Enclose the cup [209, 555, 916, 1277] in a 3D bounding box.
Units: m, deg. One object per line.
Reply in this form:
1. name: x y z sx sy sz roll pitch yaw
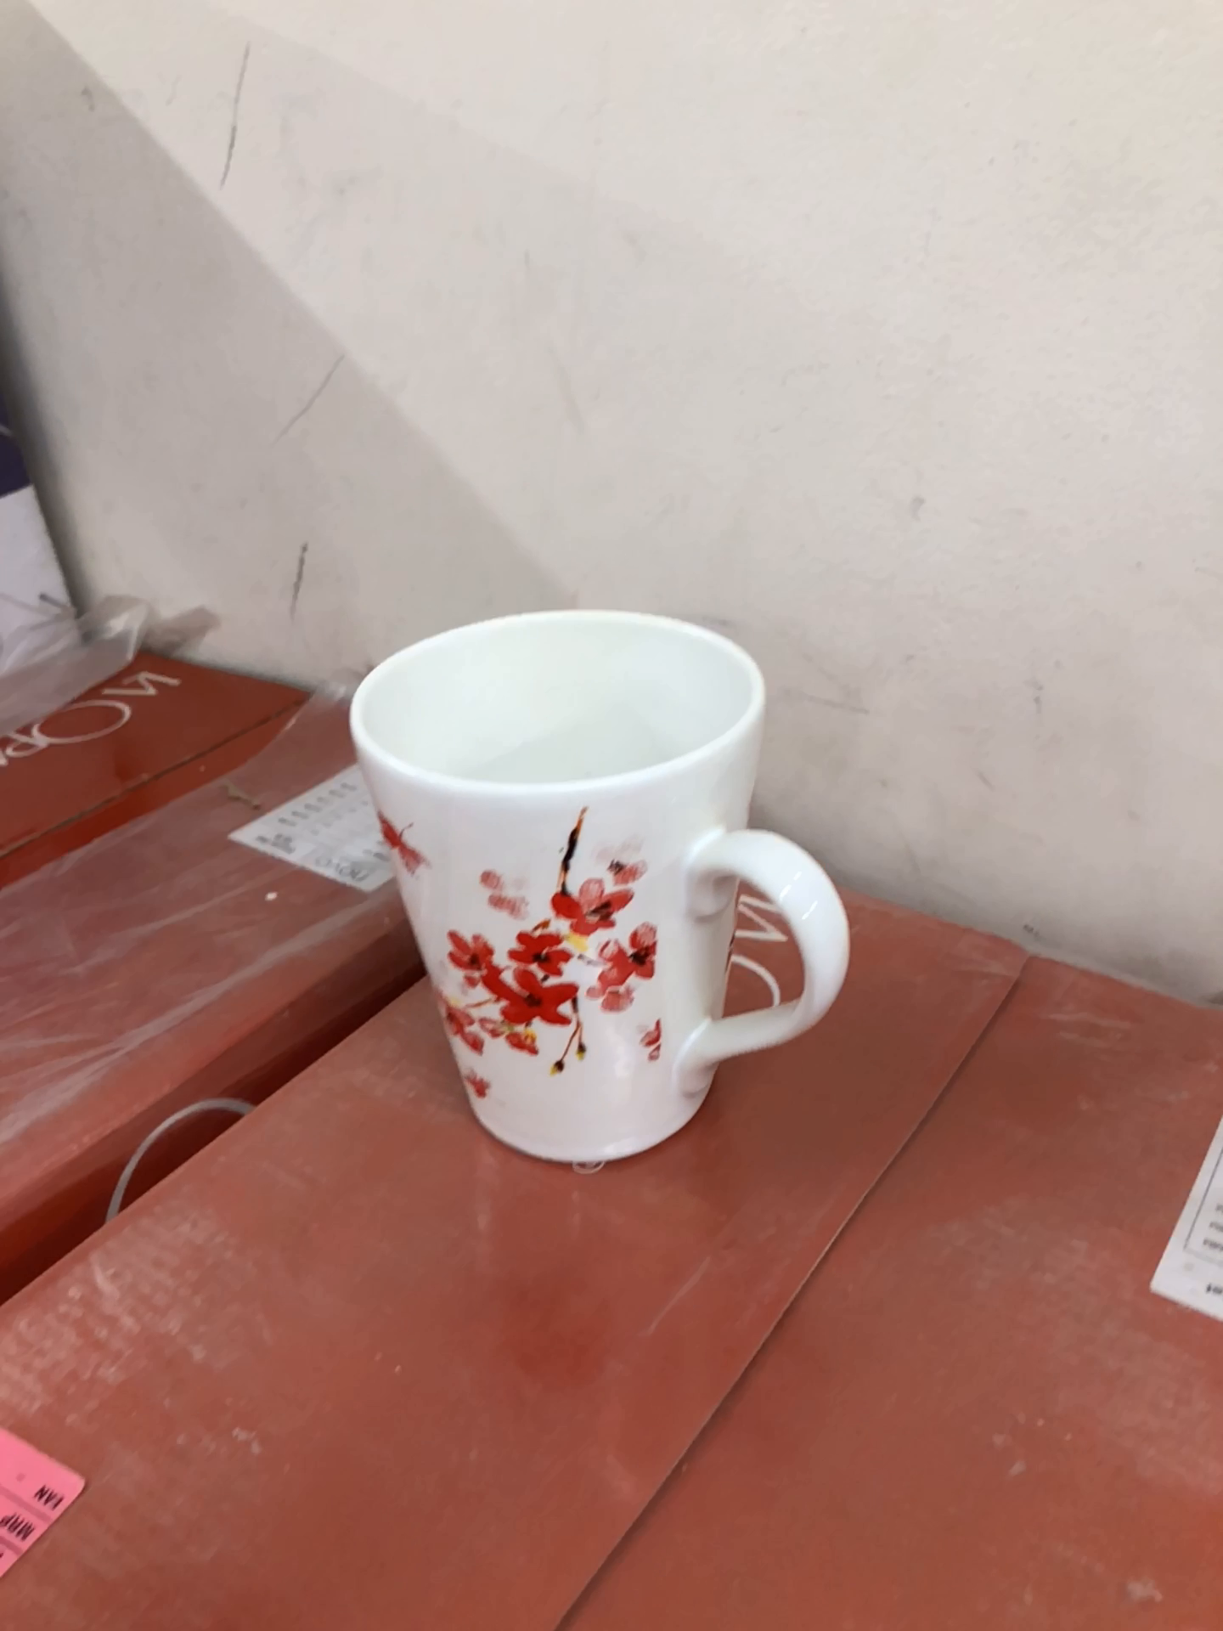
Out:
1. cup: -0.006 0.013 0.286 0.110 0.099 0.080 14 35 28
